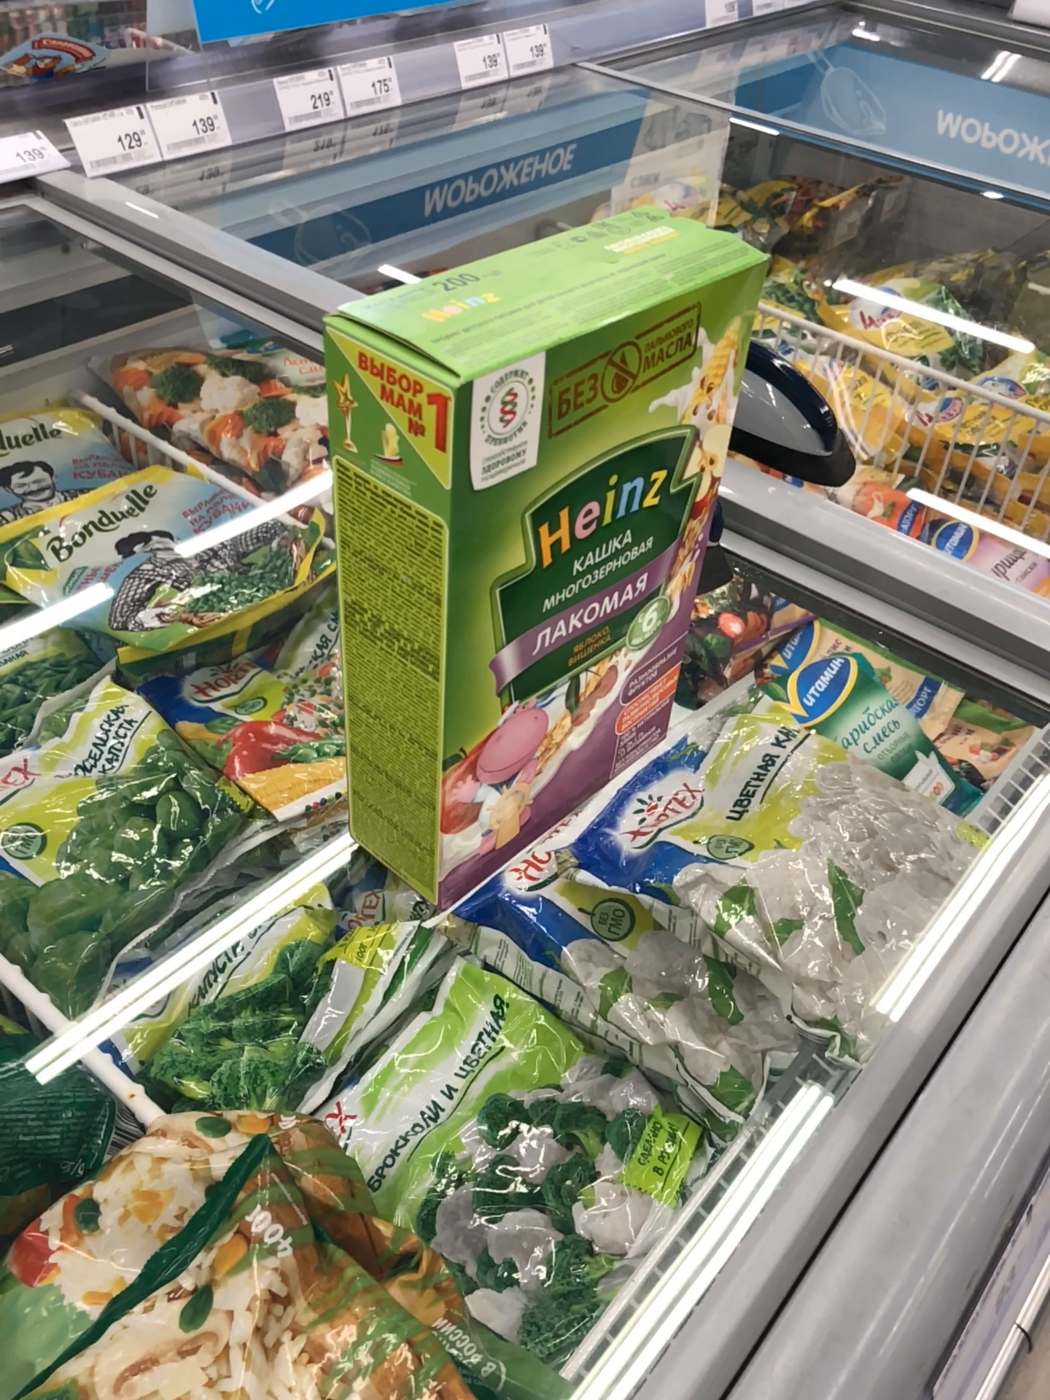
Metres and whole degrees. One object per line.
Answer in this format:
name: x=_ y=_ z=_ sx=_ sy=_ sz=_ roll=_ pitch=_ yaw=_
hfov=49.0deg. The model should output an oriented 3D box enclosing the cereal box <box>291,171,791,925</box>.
cereal box: x=0.004 y=-0.044 z=0.368 sx=0.050 sy=0.199 sz=0.140 roll=34 pitch=49 yaw=28
